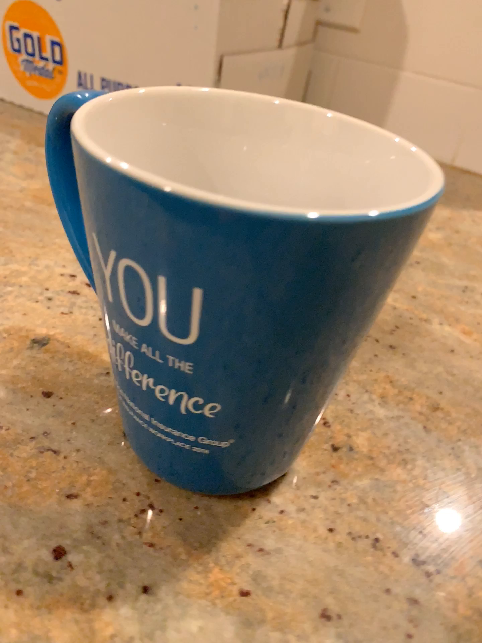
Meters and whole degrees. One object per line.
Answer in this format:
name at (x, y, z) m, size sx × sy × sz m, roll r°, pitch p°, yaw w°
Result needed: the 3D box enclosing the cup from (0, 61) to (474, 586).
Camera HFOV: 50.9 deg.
cup at (-0.017, -0.017, 0.168) m, size 0.138 × 0.098 × 0.099 m, roll 22°, pitch 37°, yaw 20°
